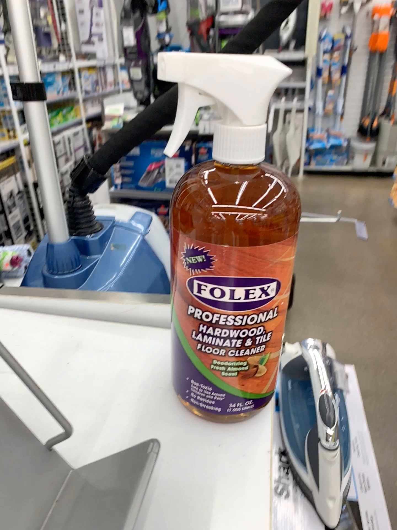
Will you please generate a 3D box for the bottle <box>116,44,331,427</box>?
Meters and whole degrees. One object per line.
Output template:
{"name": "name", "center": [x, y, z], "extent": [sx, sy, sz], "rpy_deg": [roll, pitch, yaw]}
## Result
{"name": "bottle", "center": [0.015, -0.012, 0.288], "extent": [0.100, 0.249, 0.090], "rpy_deg": [-1, 27, 1]}
